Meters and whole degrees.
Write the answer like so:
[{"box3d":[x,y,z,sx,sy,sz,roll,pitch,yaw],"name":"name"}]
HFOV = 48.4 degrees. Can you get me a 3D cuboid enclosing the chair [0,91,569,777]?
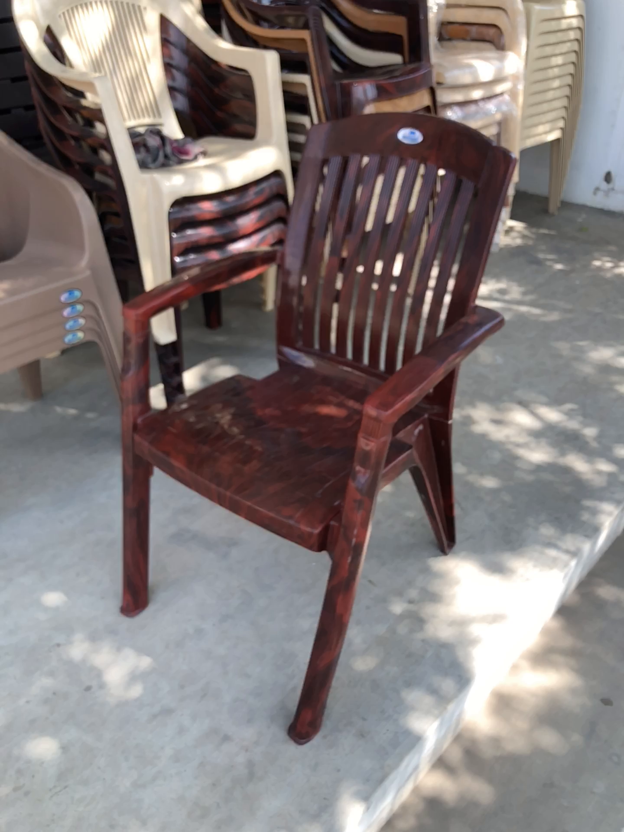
[{"box3d":[-0.036,-0.041,1.248,0.610,0.855,0.694,21,40,31],"name":"chair"}]
